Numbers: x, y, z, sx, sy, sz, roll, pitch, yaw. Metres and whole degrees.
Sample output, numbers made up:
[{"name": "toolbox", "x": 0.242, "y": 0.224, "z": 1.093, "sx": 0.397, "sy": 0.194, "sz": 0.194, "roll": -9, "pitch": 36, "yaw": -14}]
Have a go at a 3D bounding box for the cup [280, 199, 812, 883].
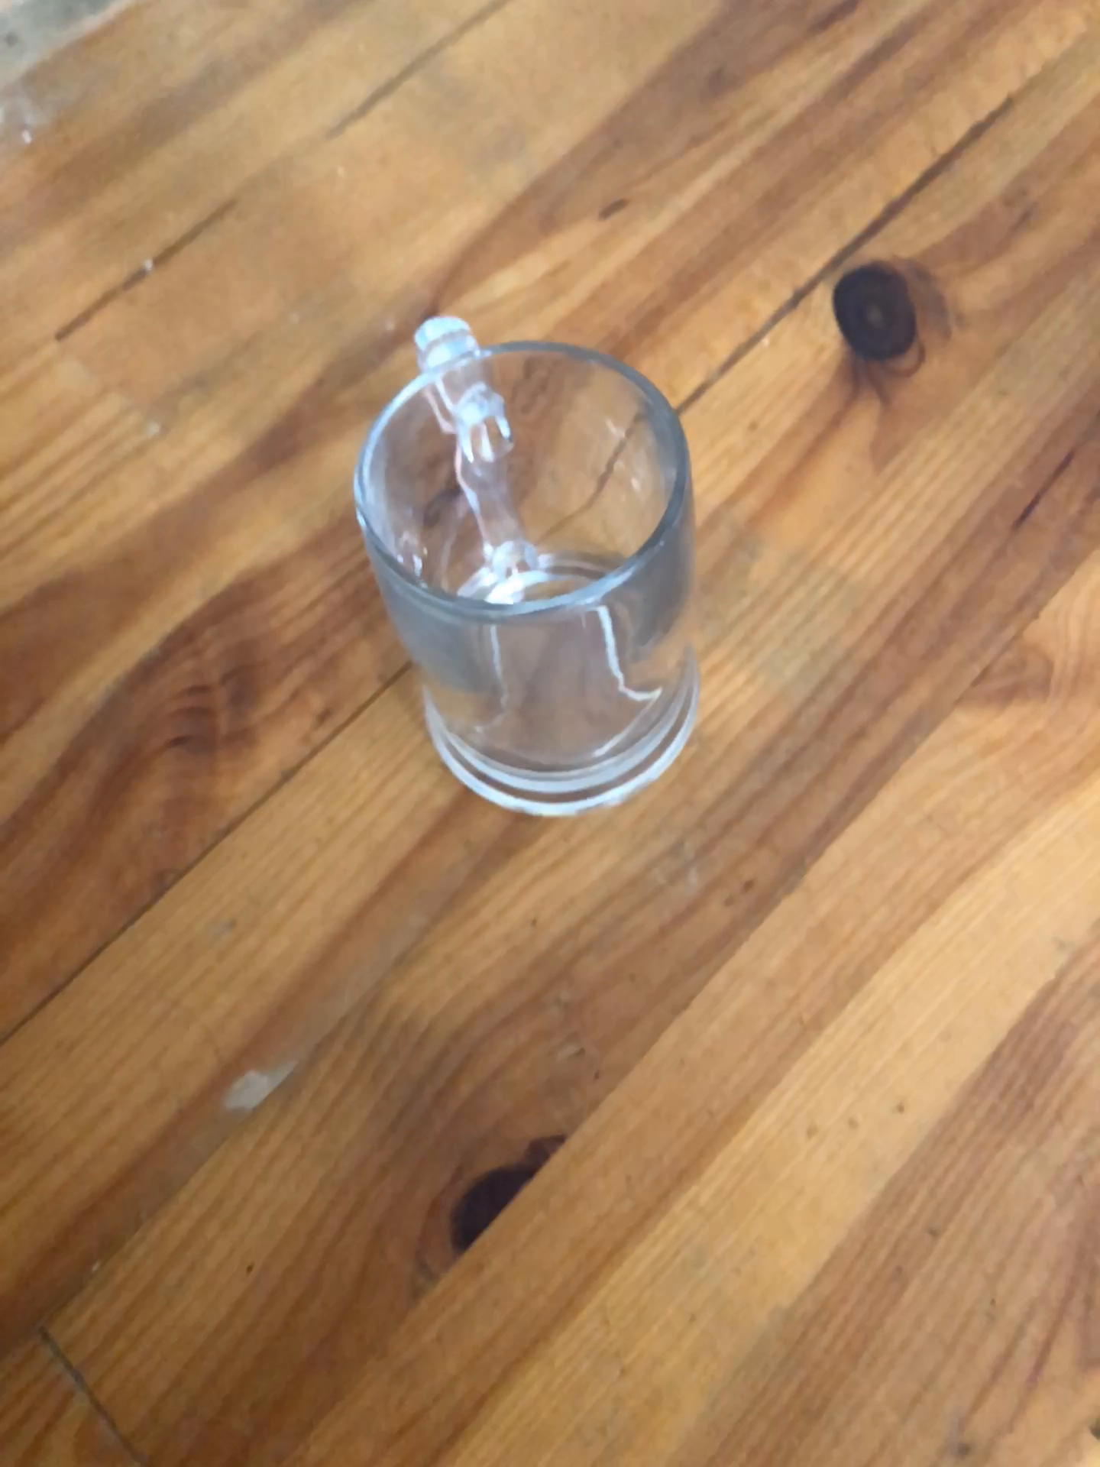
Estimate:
[{"name": "cup", "x": -0.002, "y": -0.049, "z": 0.341, "sx": 0.091, "sy": 0.110, "sz": 0.128, "roll": -18, "pitch": 64, "yaw": -5}]
